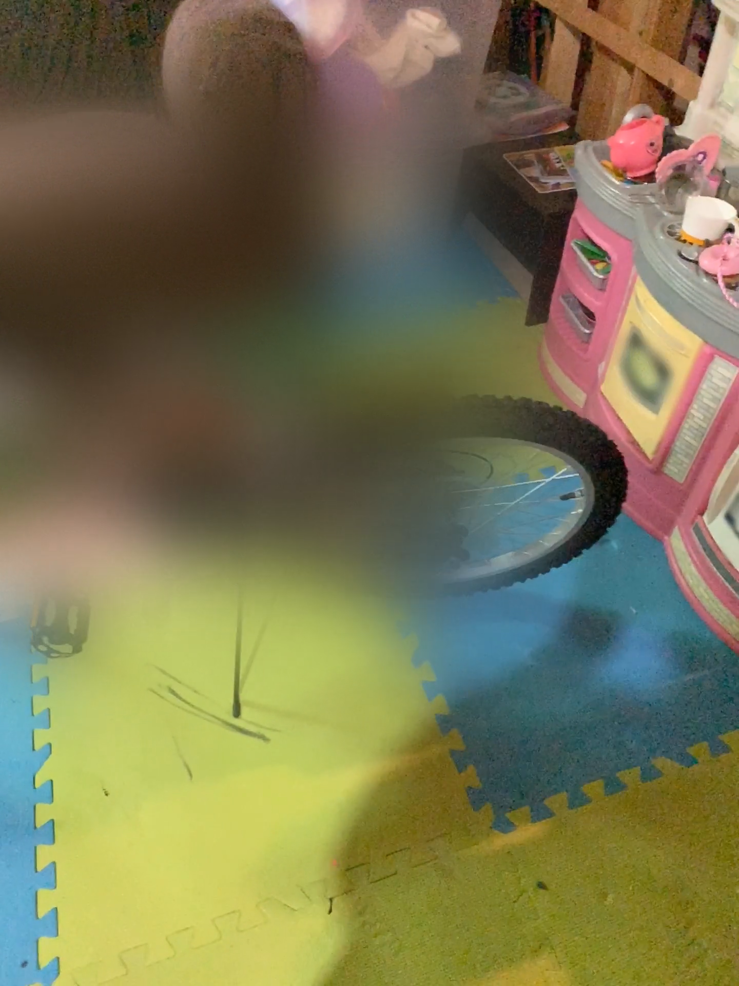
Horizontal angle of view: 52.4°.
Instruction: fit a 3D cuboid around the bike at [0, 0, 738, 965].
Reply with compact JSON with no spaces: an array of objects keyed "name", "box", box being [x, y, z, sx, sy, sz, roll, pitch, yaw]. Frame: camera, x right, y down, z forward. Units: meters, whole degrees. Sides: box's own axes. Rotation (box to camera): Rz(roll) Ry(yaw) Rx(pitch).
[{"name":"bike","box":[-0.299,-0.012,0.885,1.268,0.841,0.536,-12,48,-6]}]
